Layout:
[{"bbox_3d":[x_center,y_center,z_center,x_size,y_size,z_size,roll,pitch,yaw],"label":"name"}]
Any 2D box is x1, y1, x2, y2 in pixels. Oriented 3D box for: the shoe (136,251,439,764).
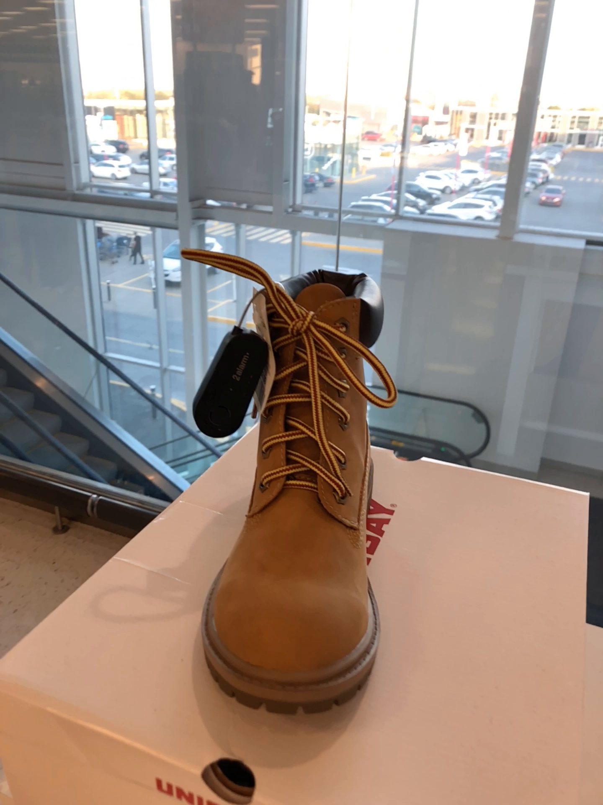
[{"bbox_3d":[0.008,0.028,0.374,0.107,0.169,0.242,5,25,7],"label":"shoe"}]
